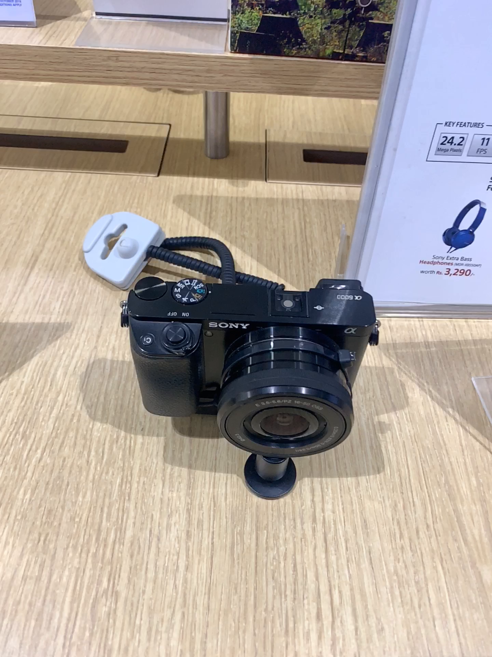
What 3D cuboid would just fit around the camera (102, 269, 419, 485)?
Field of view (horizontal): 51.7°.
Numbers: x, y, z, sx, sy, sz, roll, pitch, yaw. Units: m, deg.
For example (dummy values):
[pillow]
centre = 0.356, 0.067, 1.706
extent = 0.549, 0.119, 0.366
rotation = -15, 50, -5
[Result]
[camera]
centre = 0.005, 0.028, 0.264
extent = 0.130, 0.090, 0.070
rotation = 1, 49, -2
